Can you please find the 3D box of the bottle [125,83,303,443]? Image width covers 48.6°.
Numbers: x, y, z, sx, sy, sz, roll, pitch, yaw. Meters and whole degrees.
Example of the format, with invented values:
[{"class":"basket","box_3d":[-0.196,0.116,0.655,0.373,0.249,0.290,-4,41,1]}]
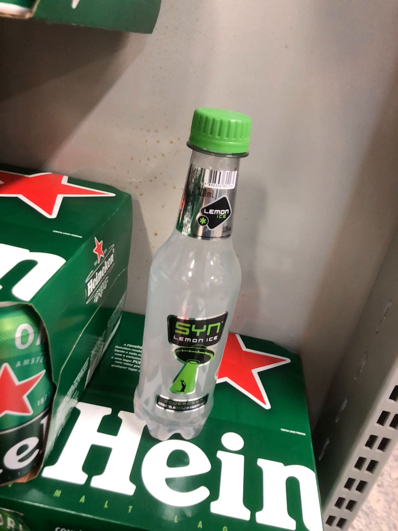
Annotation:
[{"class":"bottle","box_3d":[-0.004,0.009,0.268,0.060,0.208,0.060,9,27,-4]}]
